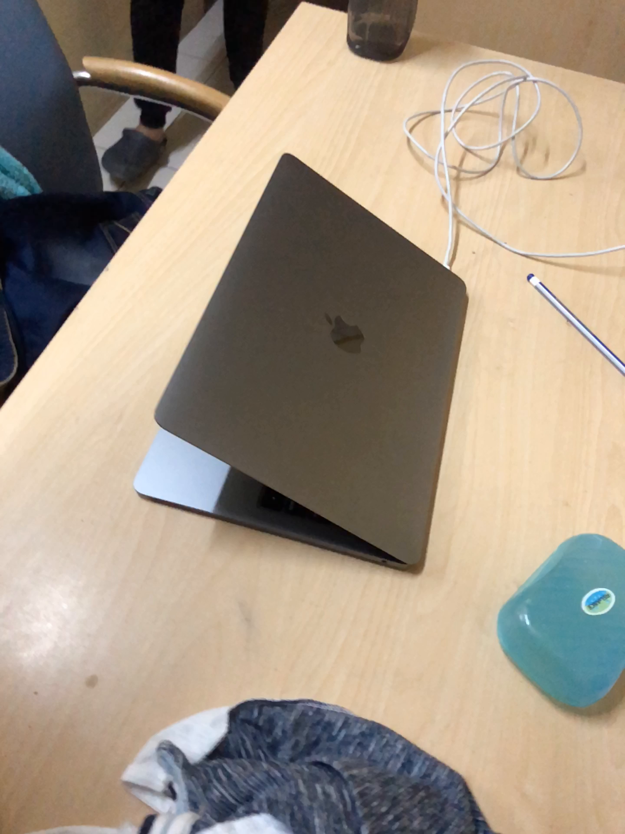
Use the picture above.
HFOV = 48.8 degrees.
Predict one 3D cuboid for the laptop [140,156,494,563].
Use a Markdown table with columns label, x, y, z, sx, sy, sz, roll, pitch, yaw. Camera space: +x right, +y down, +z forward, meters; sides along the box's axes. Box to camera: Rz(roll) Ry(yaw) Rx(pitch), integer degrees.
| label | x | y | z | sx | sy | sz | roll | pitch | yaw |
| --- | --- | --- | --- | --- | --- | --- | --- | --- | --- |
| laptop | 0.018 | -0.063 | 0.540 | 0.192 | 0.094 | 0.295 | 15 | 53 | 5 |
